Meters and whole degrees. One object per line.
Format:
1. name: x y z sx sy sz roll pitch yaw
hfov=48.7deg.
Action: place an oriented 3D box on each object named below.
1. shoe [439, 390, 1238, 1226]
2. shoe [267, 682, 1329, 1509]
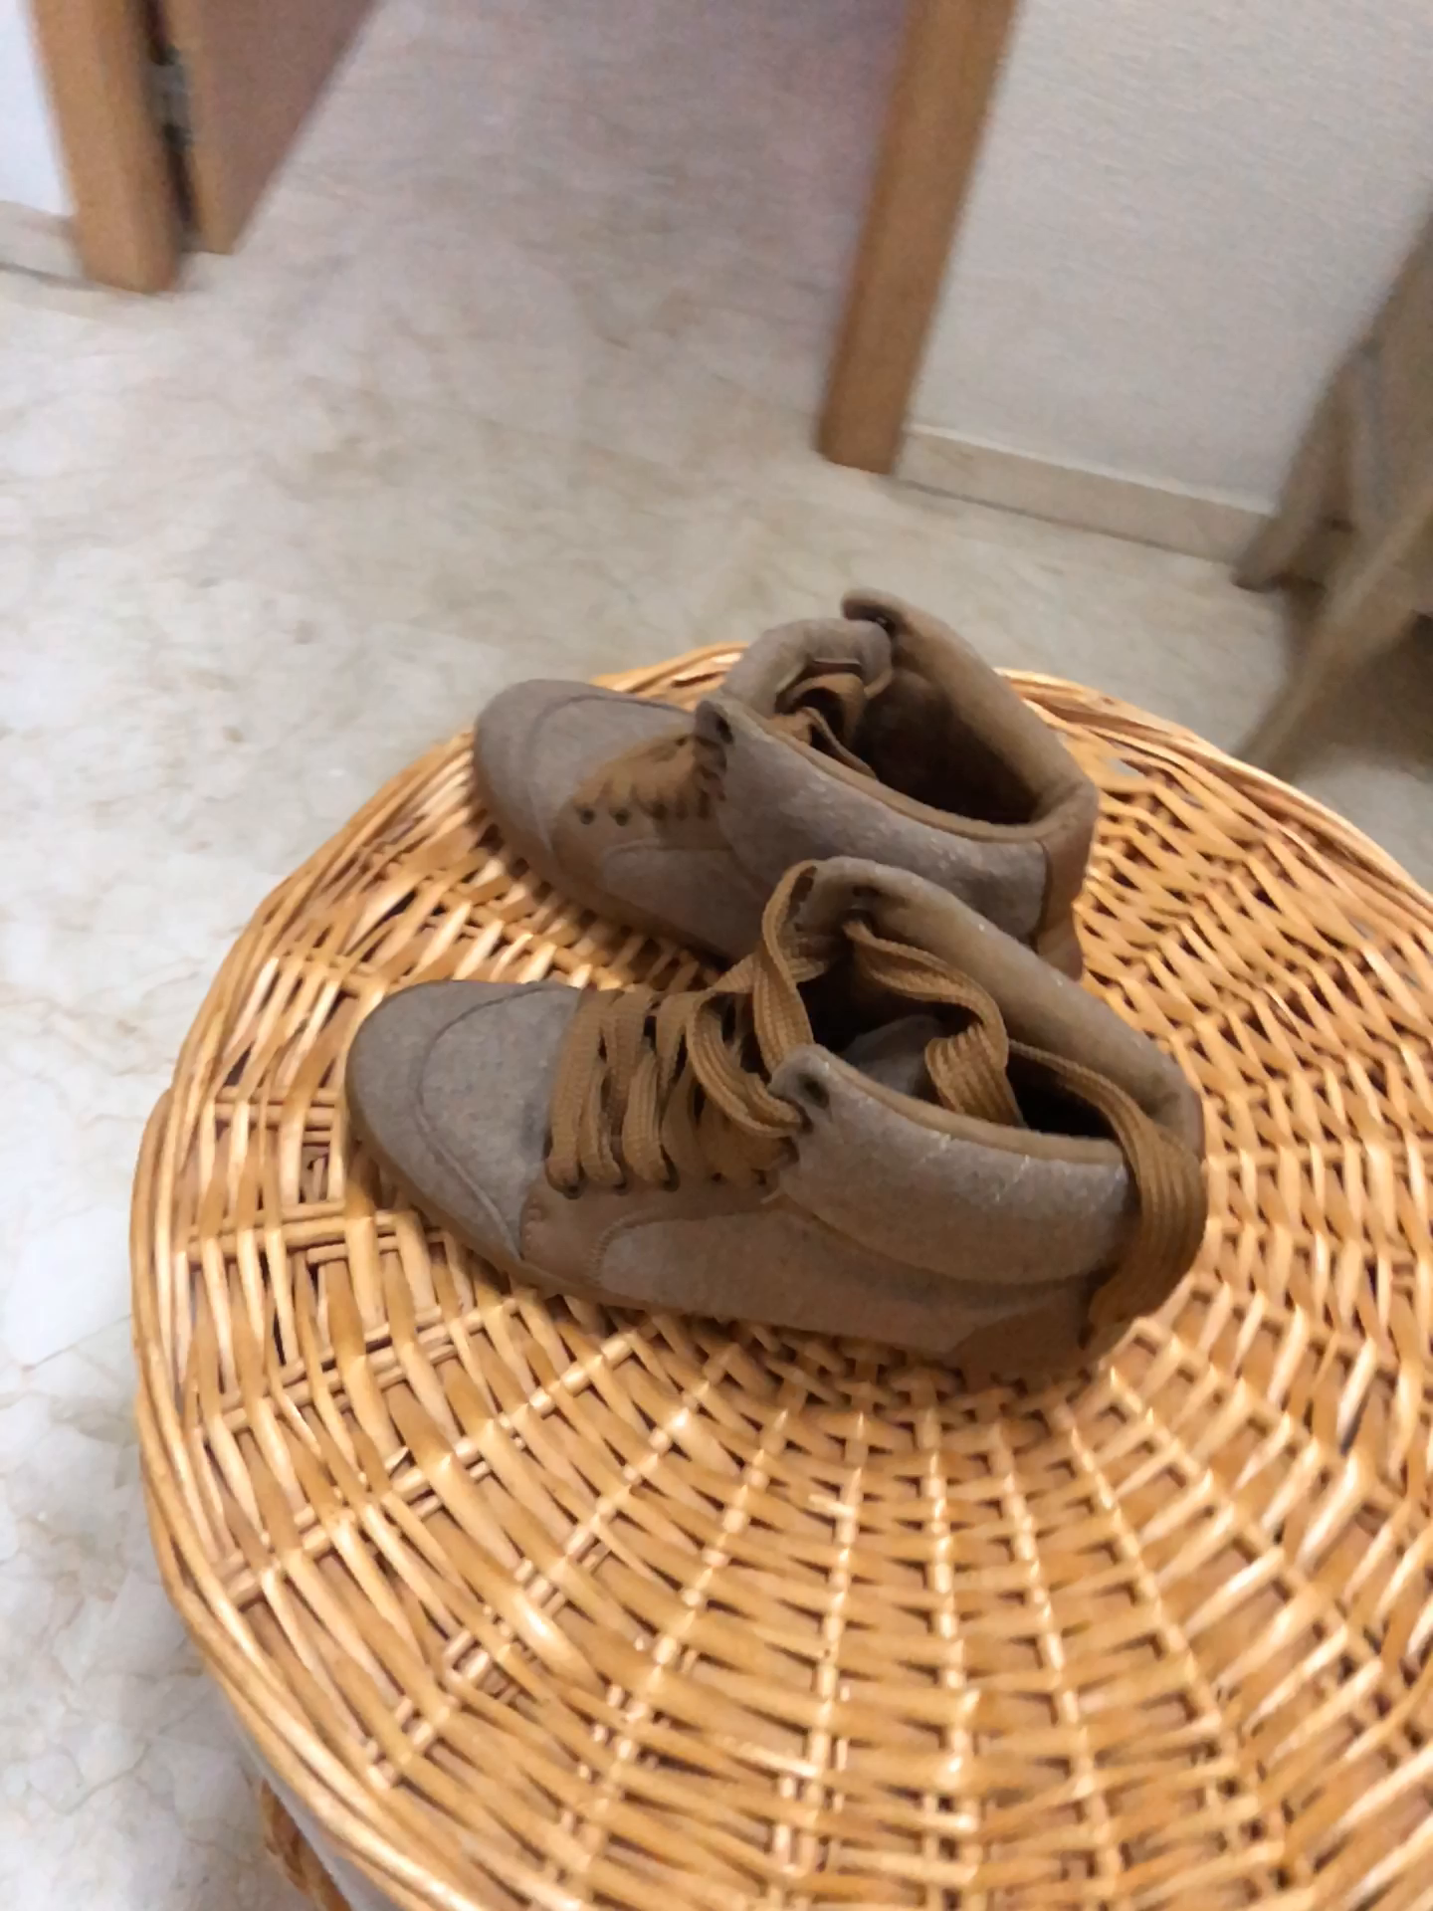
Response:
1. shoe: 0.022 -0.045 0.541 0.238 0.178 0.079 36 59 15
2. shoe: 0.016 0.049 0.444 0.238 0.168 0.096 17 56 3
